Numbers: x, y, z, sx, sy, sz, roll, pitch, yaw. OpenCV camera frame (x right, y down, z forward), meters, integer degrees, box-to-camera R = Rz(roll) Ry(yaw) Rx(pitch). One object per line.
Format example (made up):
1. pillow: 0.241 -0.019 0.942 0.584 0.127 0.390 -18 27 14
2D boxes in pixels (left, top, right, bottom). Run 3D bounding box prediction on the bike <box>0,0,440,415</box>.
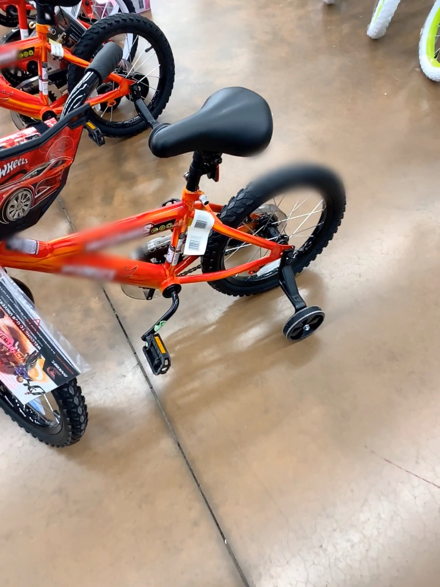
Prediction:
1. bike: -0.208 -0.225 1.004 0.994 0.821 0.504 -22 57 -3
